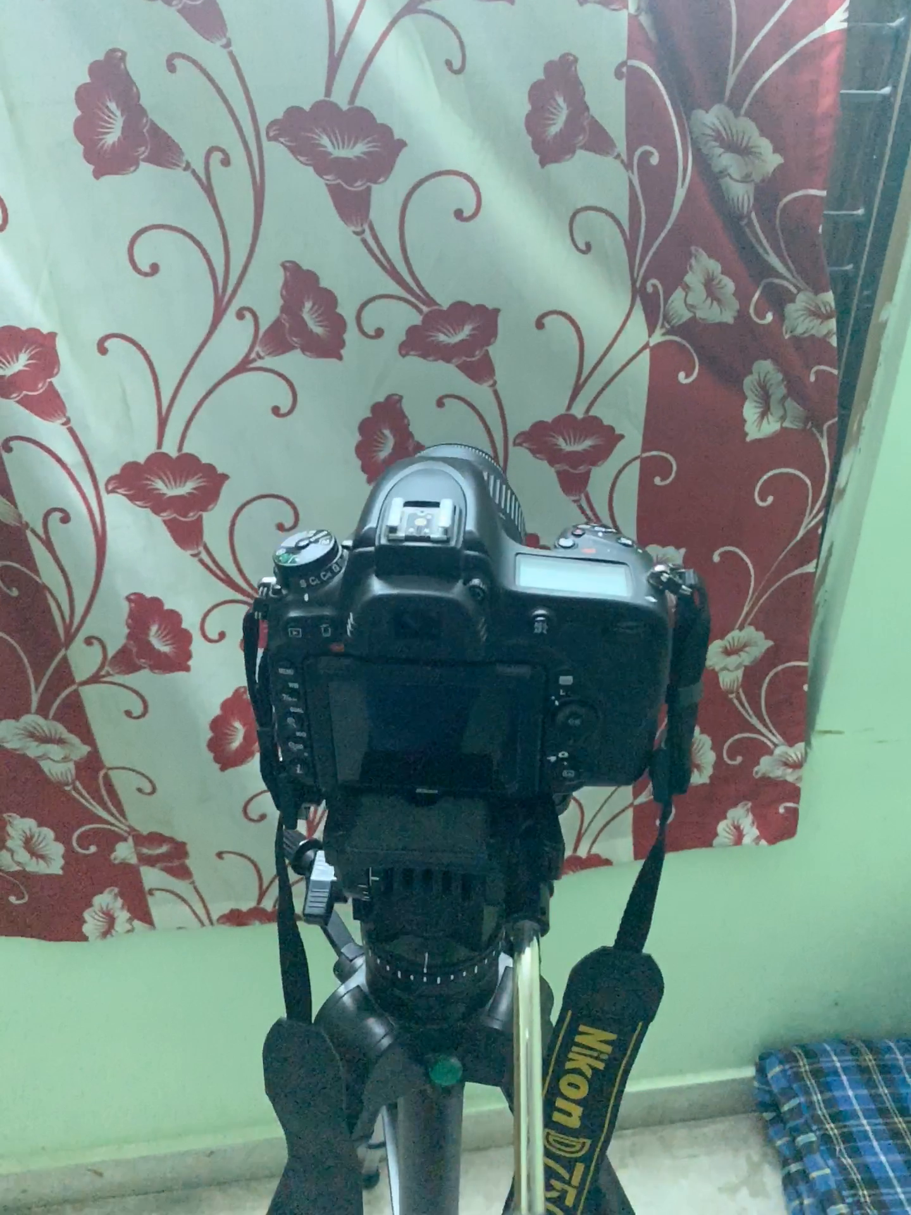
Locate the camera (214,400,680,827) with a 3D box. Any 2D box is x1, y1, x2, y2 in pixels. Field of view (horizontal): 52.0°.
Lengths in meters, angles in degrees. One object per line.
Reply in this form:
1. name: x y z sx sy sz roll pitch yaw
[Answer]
1. camera: -0.001 -0.005 0.362 0.139 0.112 0.130 2 28 2
